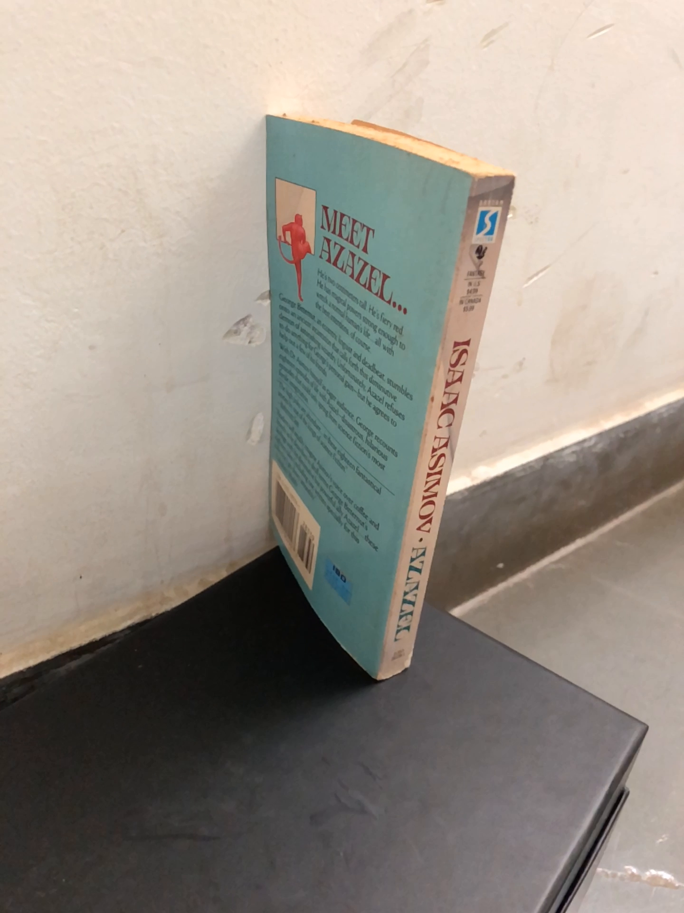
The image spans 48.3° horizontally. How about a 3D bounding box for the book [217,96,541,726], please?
[{"bbox_3d":[-0.004,-0.023,0.289,0.030,0.189,0.150,-13,34,-26],"label":"book"}]
